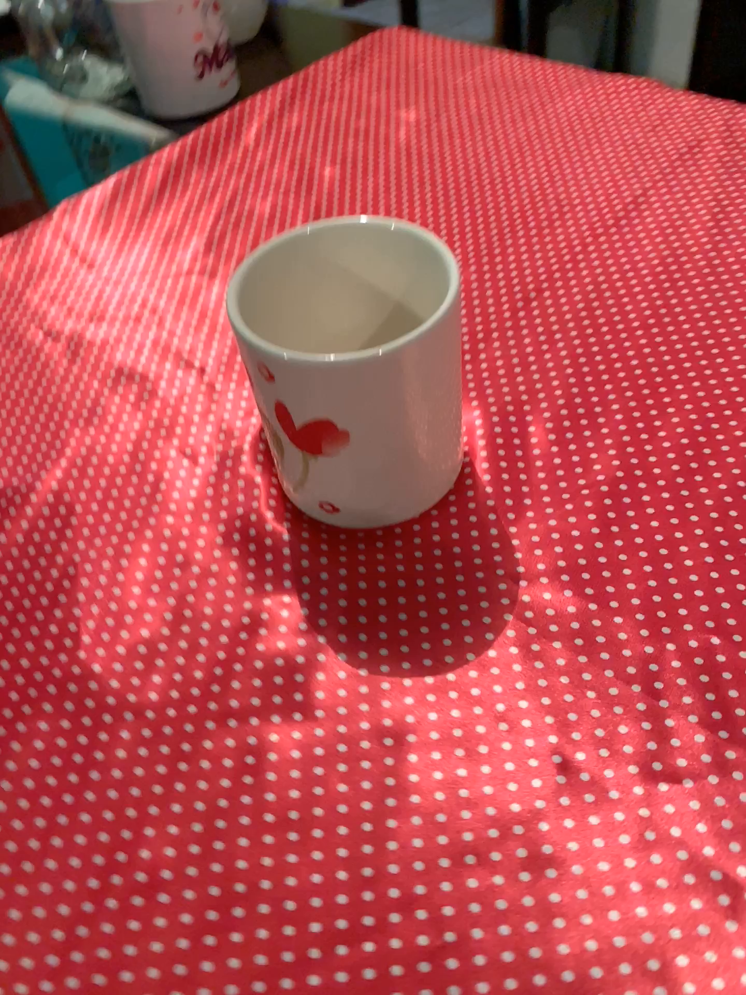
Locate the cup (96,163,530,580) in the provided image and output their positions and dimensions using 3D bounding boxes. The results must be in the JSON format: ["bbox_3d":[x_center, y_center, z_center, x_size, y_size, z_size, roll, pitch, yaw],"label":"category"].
[{"bbox_3d":[-0.018,-0.052,0.297,0.120,0.090,0.090,27,59,27],"label":"cup"}]
